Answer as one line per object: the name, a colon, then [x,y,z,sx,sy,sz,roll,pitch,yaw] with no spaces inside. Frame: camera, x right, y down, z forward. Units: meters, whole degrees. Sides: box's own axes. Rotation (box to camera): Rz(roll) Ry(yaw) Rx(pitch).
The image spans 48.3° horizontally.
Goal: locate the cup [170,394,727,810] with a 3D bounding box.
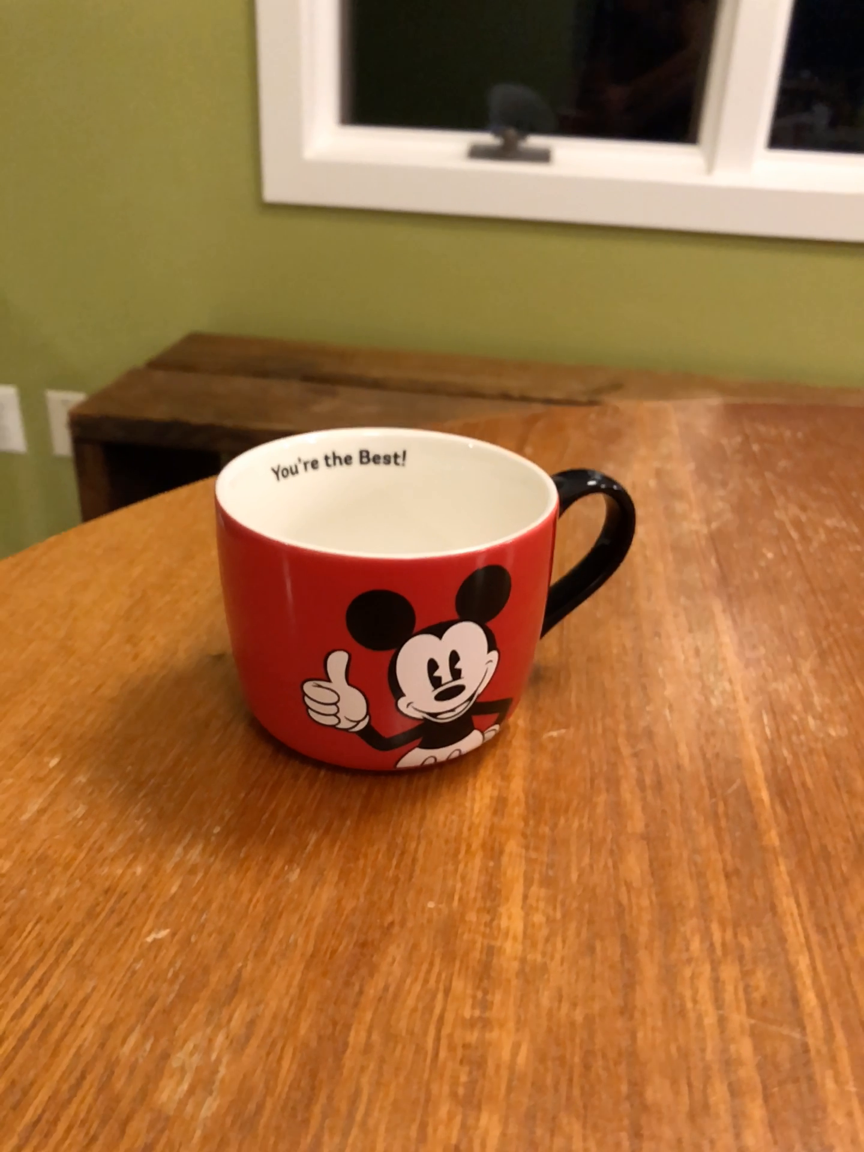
cup: [0.003,-0.004,0.318,0.143,0.069,0.103,-15,32,-30]
